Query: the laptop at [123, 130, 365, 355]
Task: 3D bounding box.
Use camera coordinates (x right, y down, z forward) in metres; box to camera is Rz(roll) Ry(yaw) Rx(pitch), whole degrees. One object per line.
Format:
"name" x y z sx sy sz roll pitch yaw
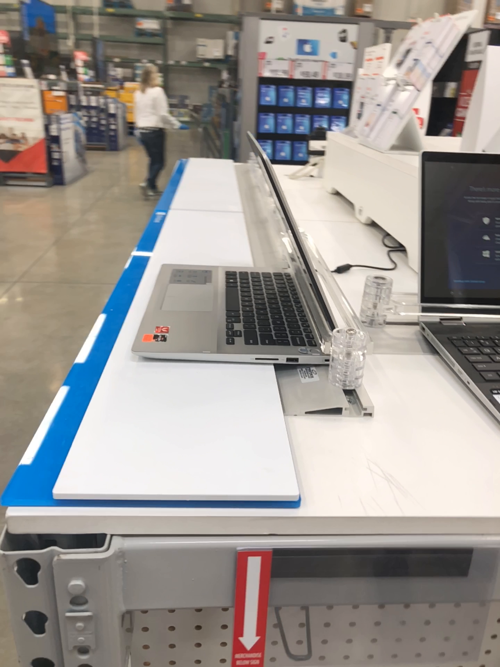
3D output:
"laptop" -0.015 -0.135 0.686 0.222 0.199 0.320 1 23 -3
